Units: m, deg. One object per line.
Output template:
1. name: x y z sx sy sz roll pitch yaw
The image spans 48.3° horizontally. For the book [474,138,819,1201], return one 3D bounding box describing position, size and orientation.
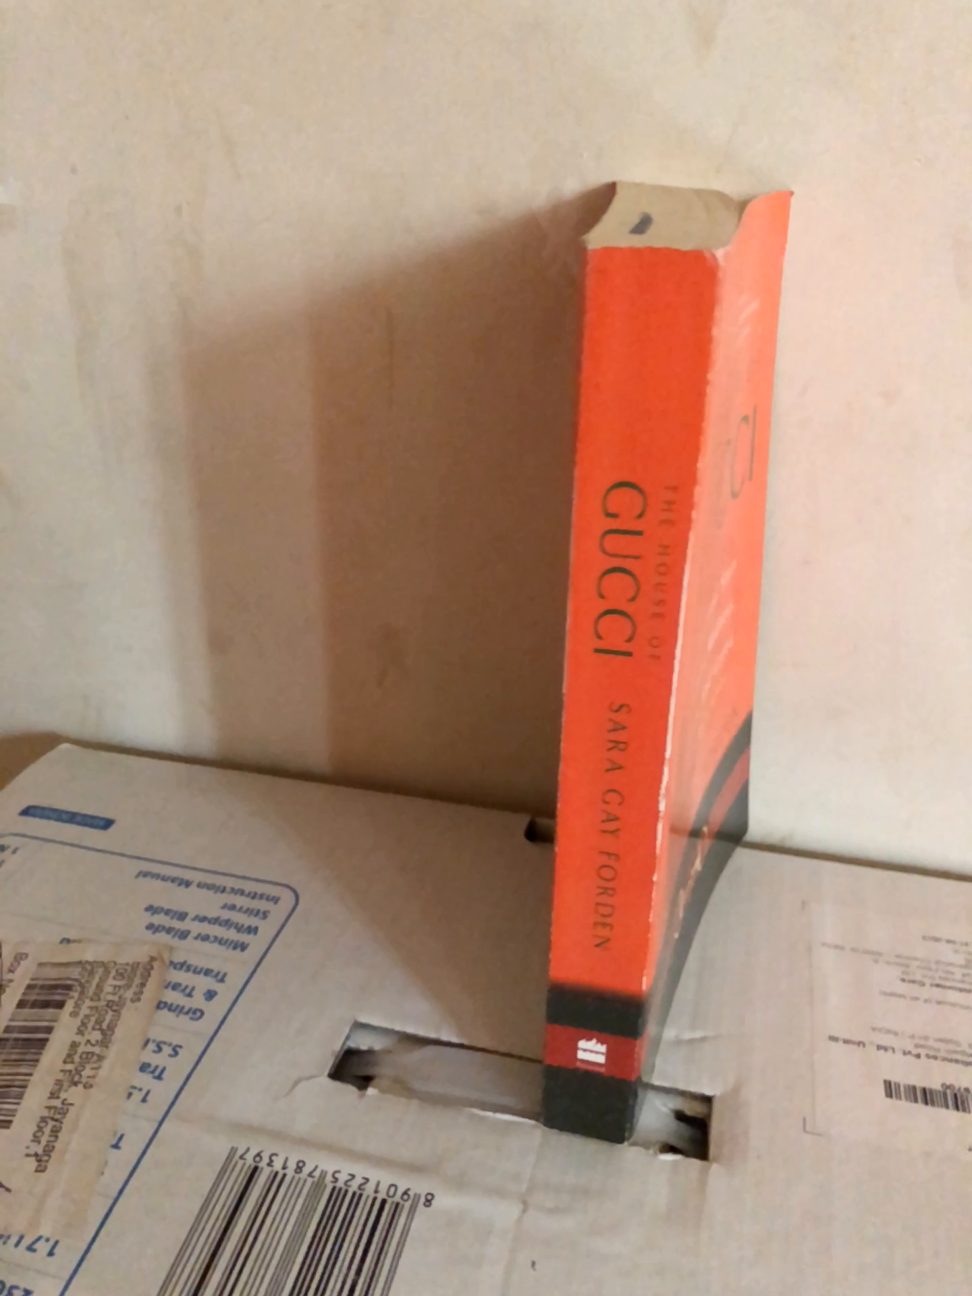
1. book: 0.048 -0.009 0.302 0.040 0.229 0.191 10 30 17
